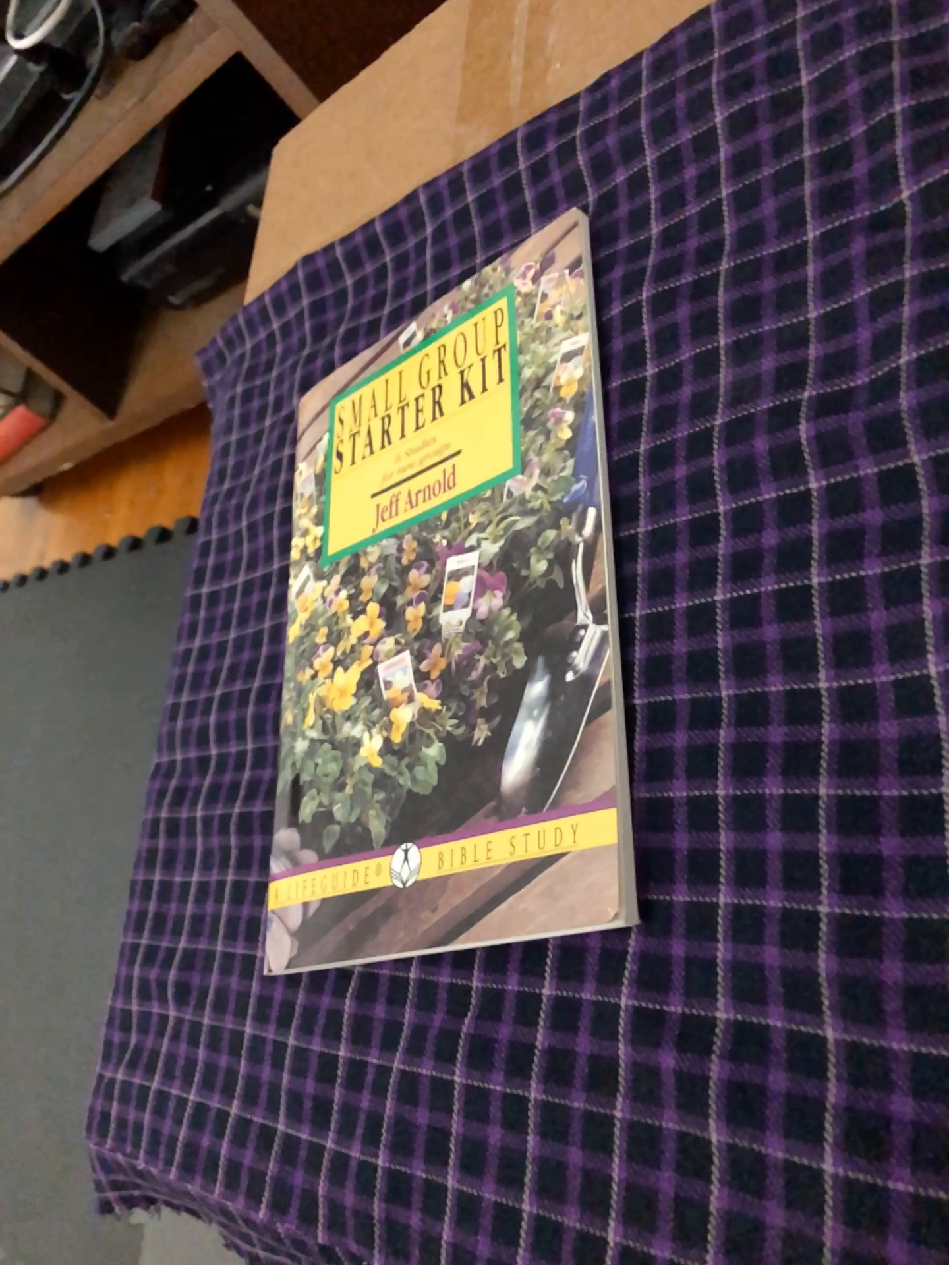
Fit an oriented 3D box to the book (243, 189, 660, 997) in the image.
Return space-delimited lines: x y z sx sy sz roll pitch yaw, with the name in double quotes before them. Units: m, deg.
"book" -0.016 -0.009 0.323 0.150 0.010 0.220 -22 59 41
